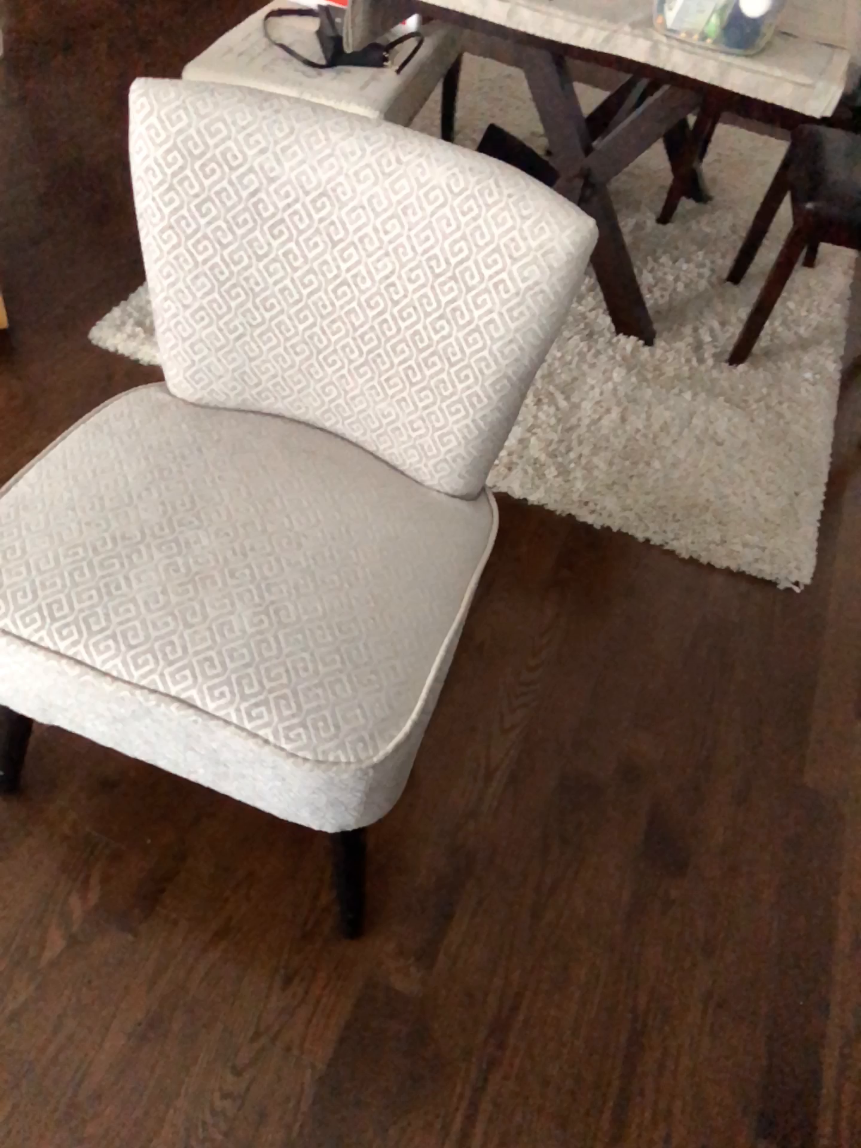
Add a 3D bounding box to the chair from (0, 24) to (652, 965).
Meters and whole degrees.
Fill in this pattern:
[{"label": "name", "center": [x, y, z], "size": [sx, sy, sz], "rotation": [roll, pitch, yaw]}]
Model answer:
[{"label": "chair", "center": [-0.198, -0.085, 1.171], "size": [0.600, 0.797, 0.642], "rotation": [21, 47, 8]}]
